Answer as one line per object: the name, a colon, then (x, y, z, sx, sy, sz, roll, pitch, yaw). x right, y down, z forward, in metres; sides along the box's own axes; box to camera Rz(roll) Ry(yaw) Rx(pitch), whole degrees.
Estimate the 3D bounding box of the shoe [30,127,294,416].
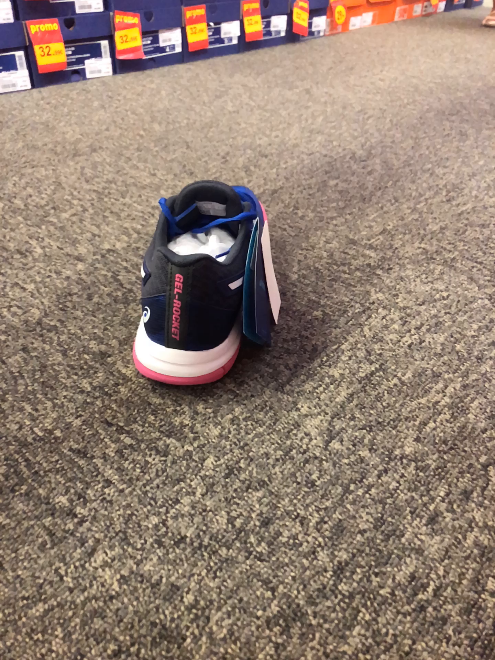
shoe: (-0.041, -0.070, 0.441, 0.125, 0.099, 0.272, 6, 37, 7)
